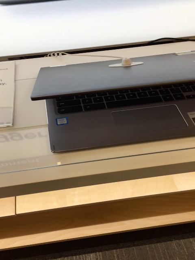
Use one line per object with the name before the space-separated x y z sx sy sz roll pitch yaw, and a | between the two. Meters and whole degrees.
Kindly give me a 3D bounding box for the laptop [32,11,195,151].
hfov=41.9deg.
laptop | 0.073 -0.092 0.434 0.329 0.101 0.201 -8 53 -5
